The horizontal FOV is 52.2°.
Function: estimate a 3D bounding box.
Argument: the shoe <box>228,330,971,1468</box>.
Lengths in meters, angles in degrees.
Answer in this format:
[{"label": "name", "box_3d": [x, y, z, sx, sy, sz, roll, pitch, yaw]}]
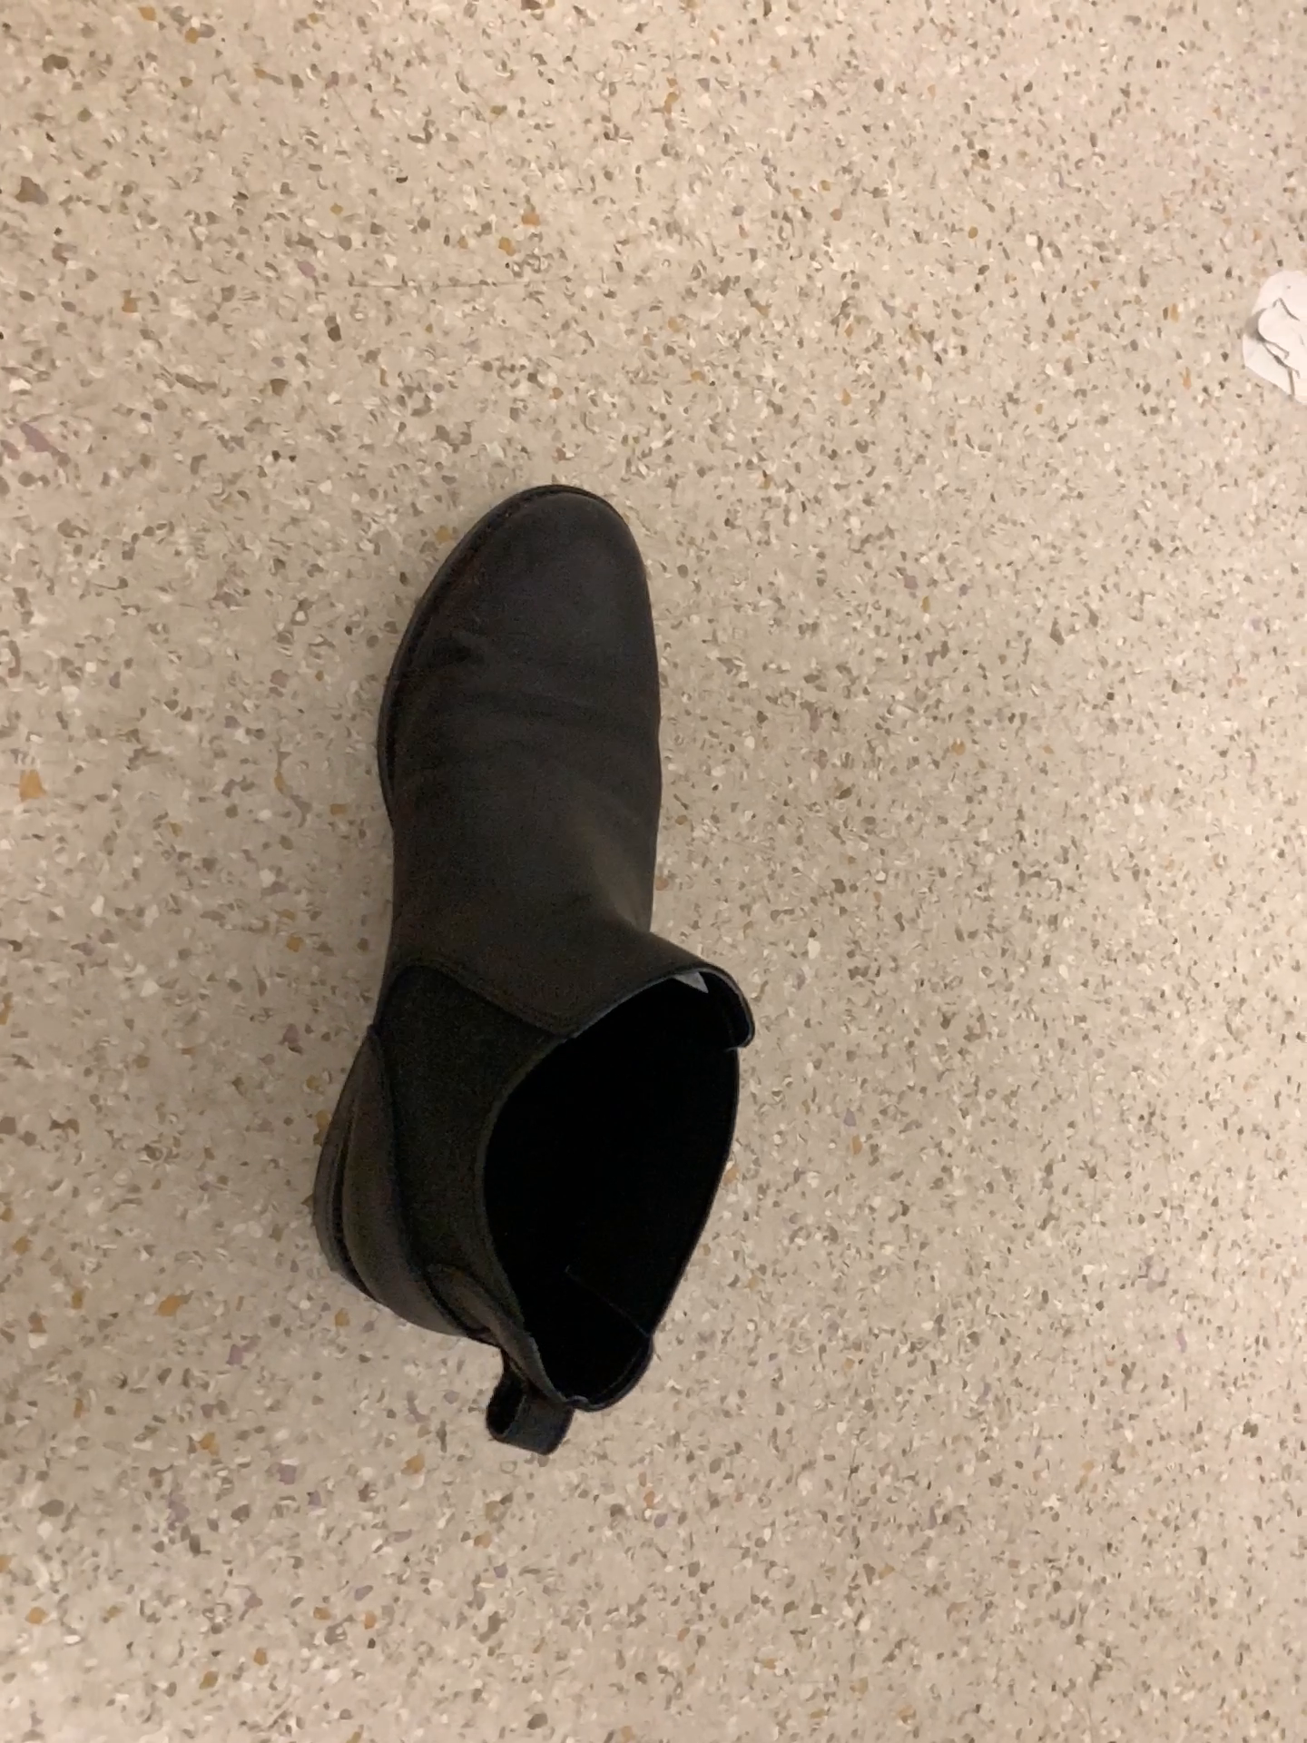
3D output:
[{"label": "shoe", "box_3d": [-0.024, 0.011, 0.401, 0.107, 0.164, 0.262, 17, 80, -27]}]
